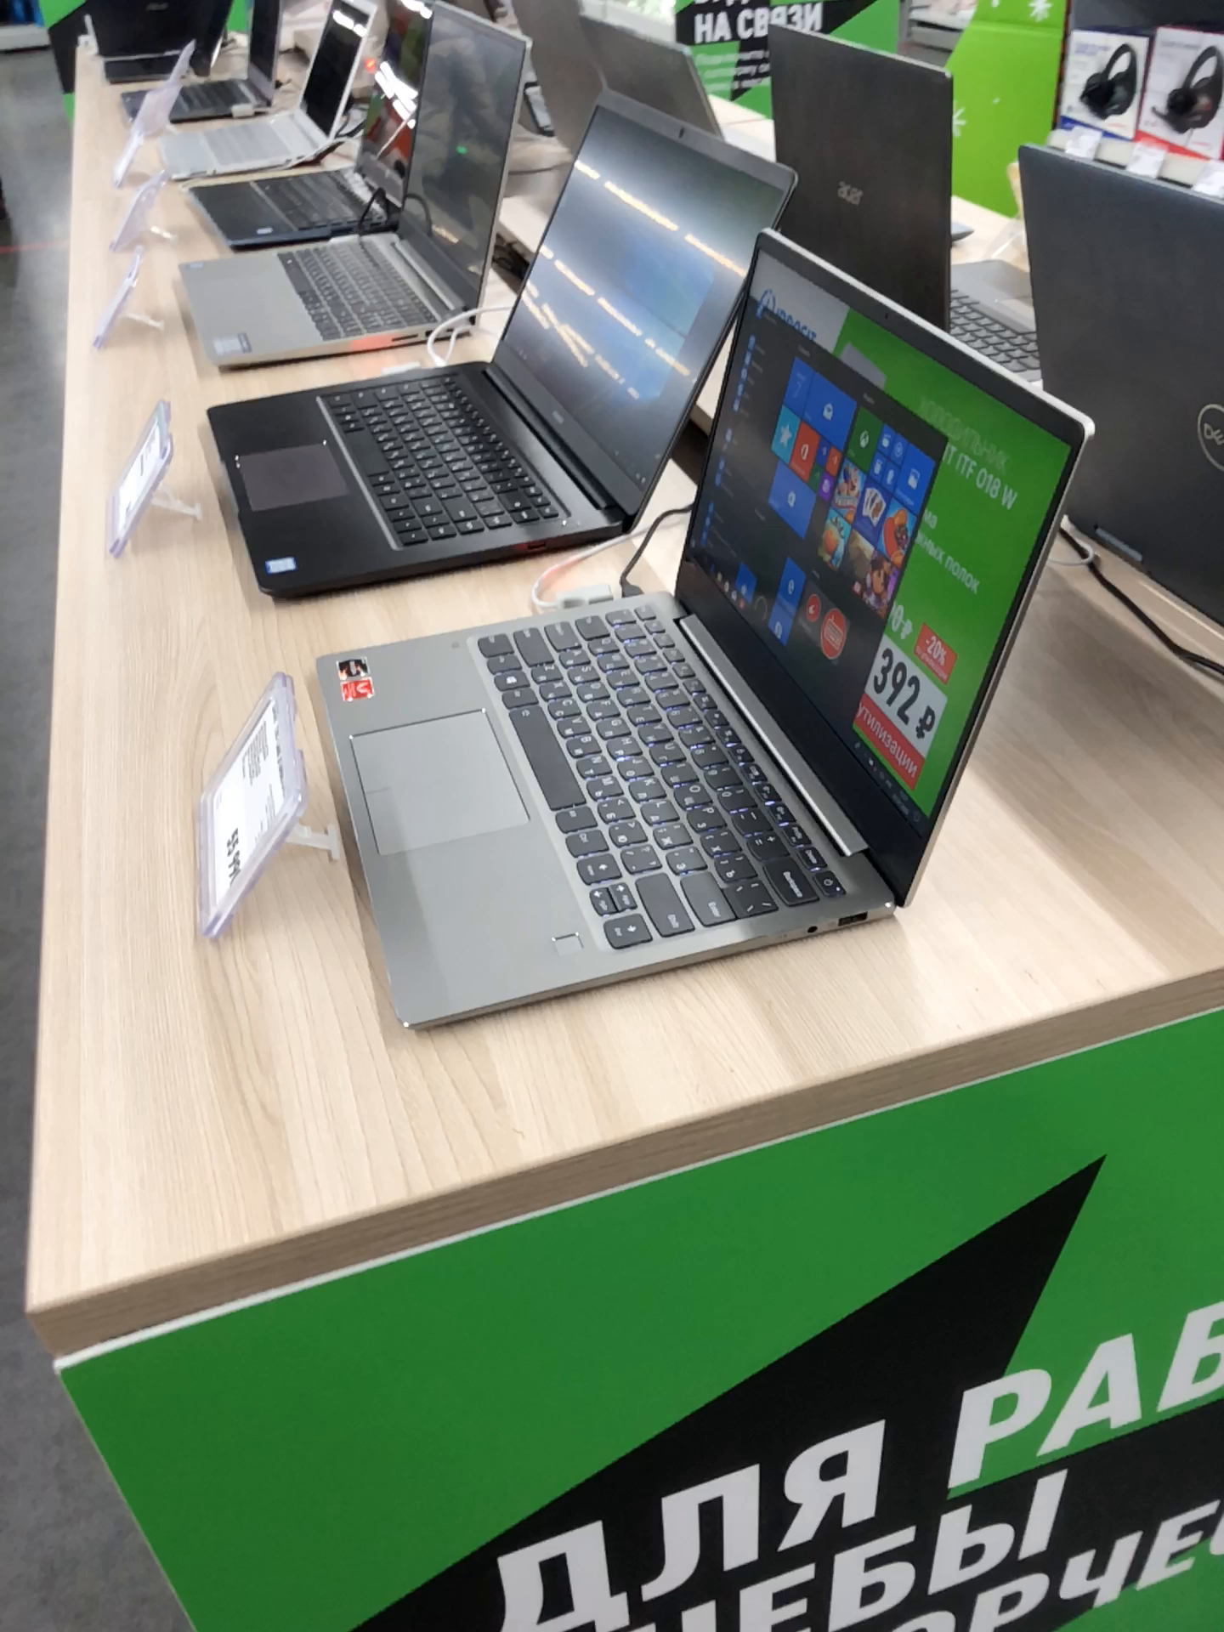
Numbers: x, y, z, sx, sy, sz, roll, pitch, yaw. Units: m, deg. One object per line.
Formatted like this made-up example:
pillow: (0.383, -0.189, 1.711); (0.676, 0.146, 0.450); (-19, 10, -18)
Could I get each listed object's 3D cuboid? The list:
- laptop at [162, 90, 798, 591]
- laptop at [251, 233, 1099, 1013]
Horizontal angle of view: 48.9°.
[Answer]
laptop: (-0.103, -0.347, 0.923); (0.339, 0.188, 0.346); (-14, 38, -12)
laptop: (0.002, -0.108, 0.593); (0.261, 0.187, 0.286); (-13, 37, -10)
